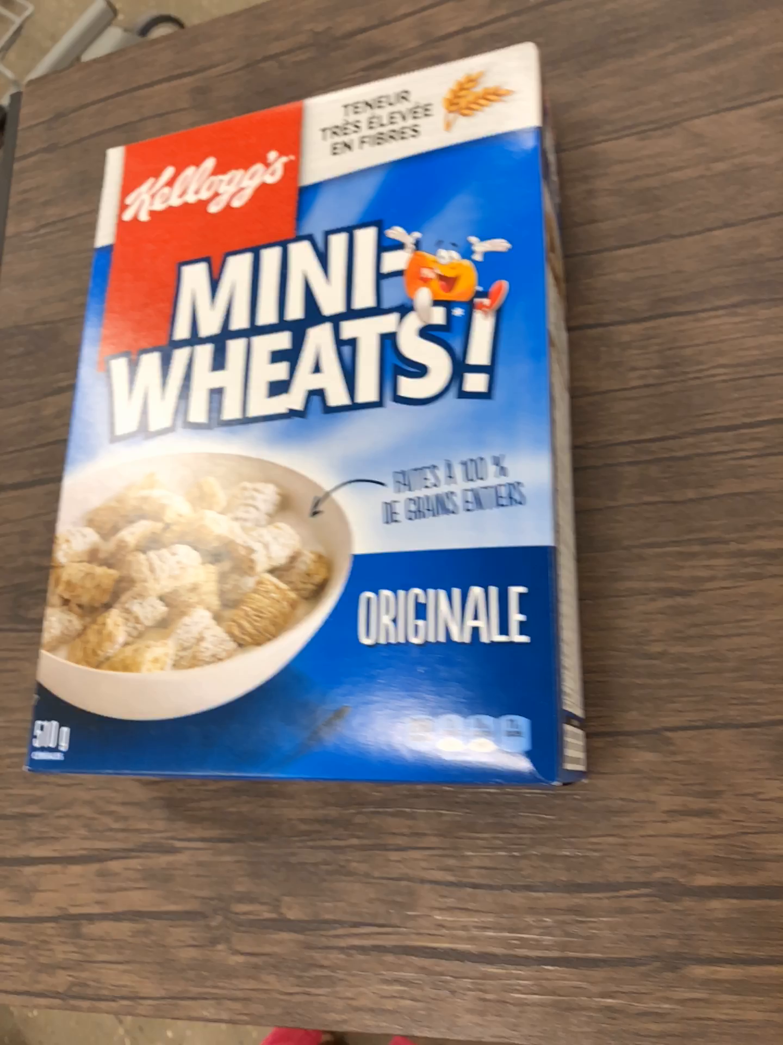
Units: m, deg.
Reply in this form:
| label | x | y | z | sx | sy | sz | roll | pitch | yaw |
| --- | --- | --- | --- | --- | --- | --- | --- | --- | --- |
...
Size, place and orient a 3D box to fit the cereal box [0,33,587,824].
| label | x | y | z | sx | sy | sz | roll | pitch | yaw |
| --- | --- | --- | --- | --- | --- | --- | --- | --- | --- |
| cereal box | -0.042 | -0.031 | 0.336 | 0.210 | 0.060 | 0.270 | -5 | 71 | 19 |
